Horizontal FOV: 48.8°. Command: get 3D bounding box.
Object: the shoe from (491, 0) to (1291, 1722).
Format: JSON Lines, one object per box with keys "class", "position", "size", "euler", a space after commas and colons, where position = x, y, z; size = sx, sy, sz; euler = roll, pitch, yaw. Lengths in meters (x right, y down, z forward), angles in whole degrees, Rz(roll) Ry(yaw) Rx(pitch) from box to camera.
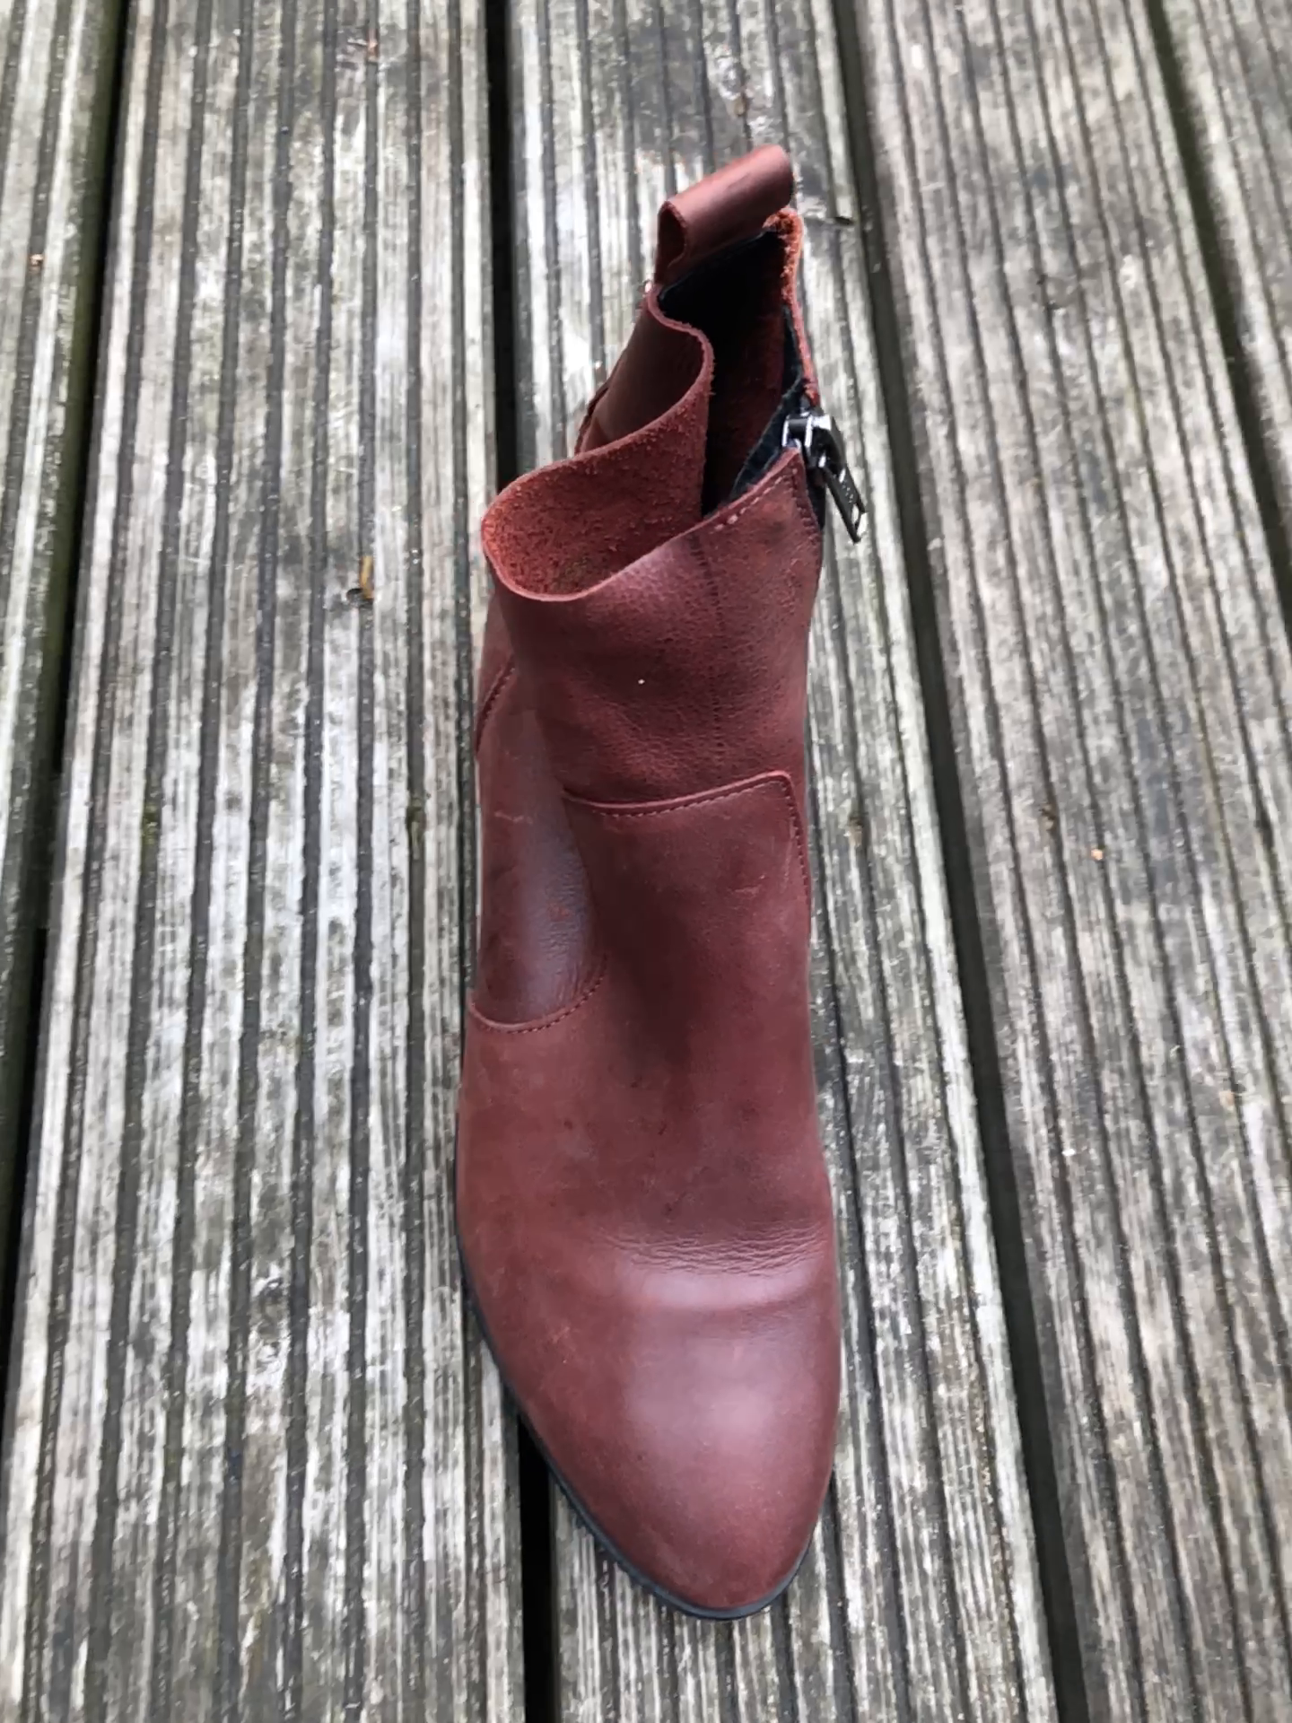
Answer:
{"class": "shoe", "position": [0.015, 0.015, 0.338], "size": [0.090, 0.239, 0.341], "euler": [1, 71, -9]}
